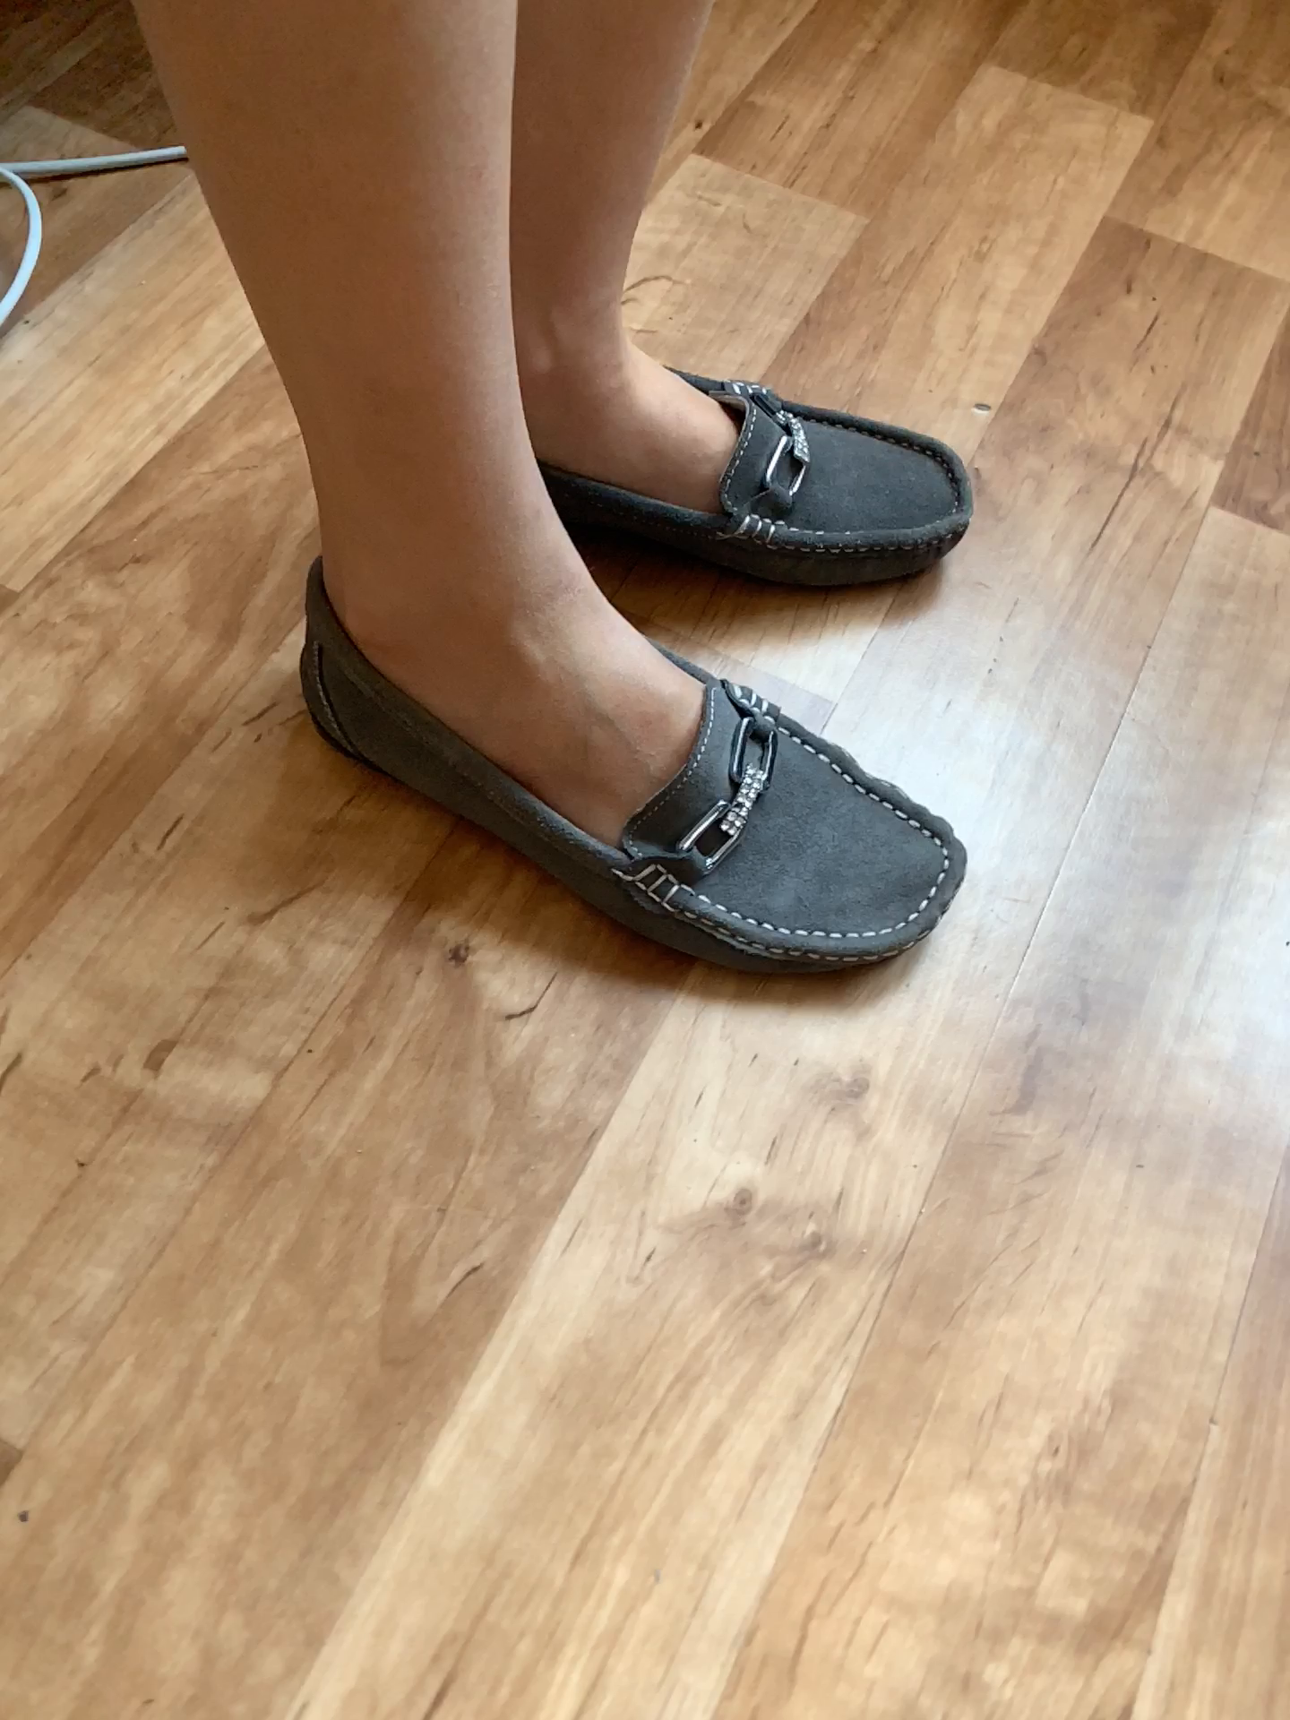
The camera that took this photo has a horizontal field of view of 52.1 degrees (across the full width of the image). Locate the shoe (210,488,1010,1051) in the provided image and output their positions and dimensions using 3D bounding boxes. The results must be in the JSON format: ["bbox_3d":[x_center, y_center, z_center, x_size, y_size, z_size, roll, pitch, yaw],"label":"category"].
[{"bbox_3d":[-0.012,-0.033,0.448,0.240,0.060,0.090,23,65,9],"label":"shoe"}]

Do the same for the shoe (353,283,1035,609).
[{"bbox_3d":[0.016,-0.160,0.513,0.240,0.060,0.100,1,60,-3],"label":"shoe"}]
